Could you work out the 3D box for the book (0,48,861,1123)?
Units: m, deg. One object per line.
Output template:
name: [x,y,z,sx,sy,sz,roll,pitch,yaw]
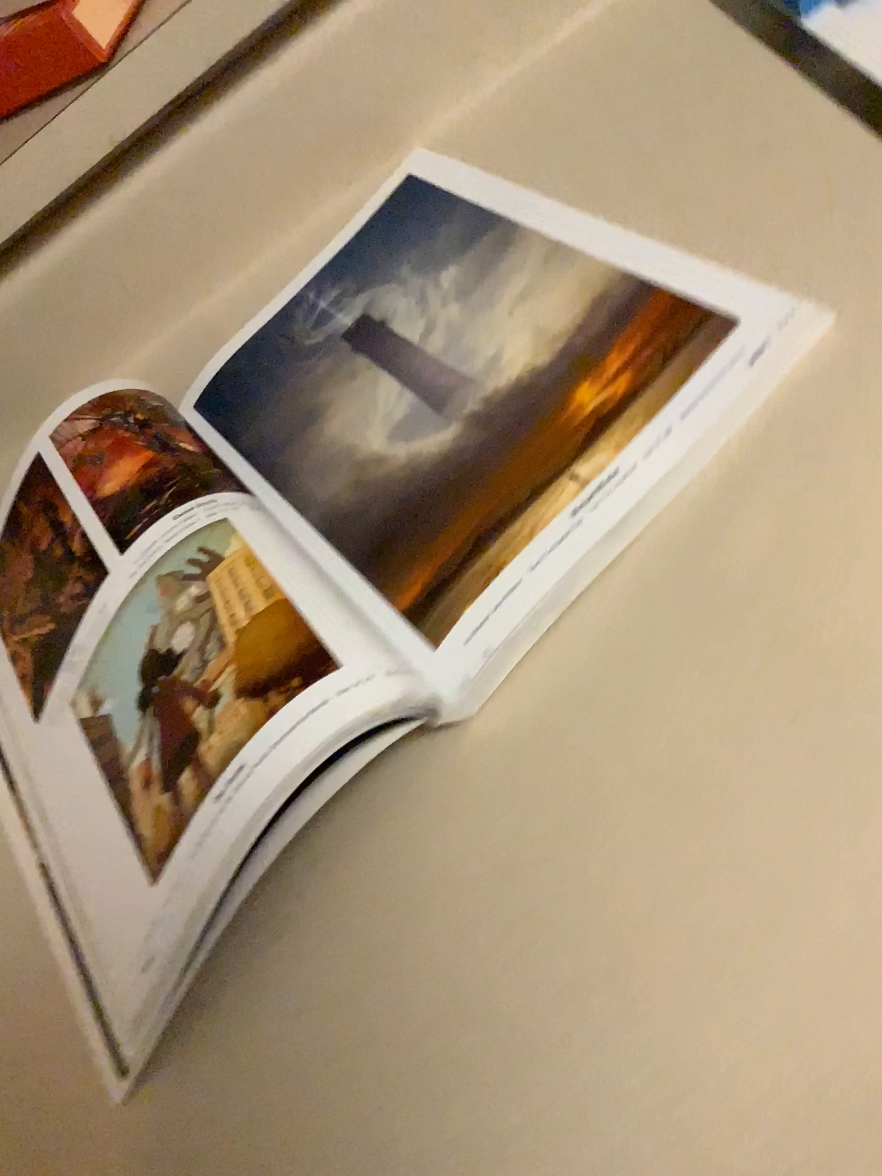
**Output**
book: [-0.087,-0.043,0.480,0.450,0.070,0.320,-47,49,1]
